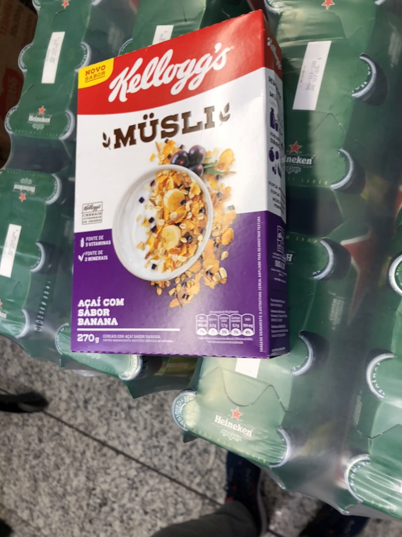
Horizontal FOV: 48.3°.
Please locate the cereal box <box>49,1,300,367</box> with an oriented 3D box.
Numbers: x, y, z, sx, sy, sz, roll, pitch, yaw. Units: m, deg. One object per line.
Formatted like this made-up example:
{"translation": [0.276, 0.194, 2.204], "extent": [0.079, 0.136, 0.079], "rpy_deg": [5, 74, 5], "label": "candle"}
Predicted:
{"translation": [-0.021, -0.041, 0.279], "extent": [0.151, 0.040, 0.190], "rpy_deg": [-4, 83, 26], "label": "cereal box"}
